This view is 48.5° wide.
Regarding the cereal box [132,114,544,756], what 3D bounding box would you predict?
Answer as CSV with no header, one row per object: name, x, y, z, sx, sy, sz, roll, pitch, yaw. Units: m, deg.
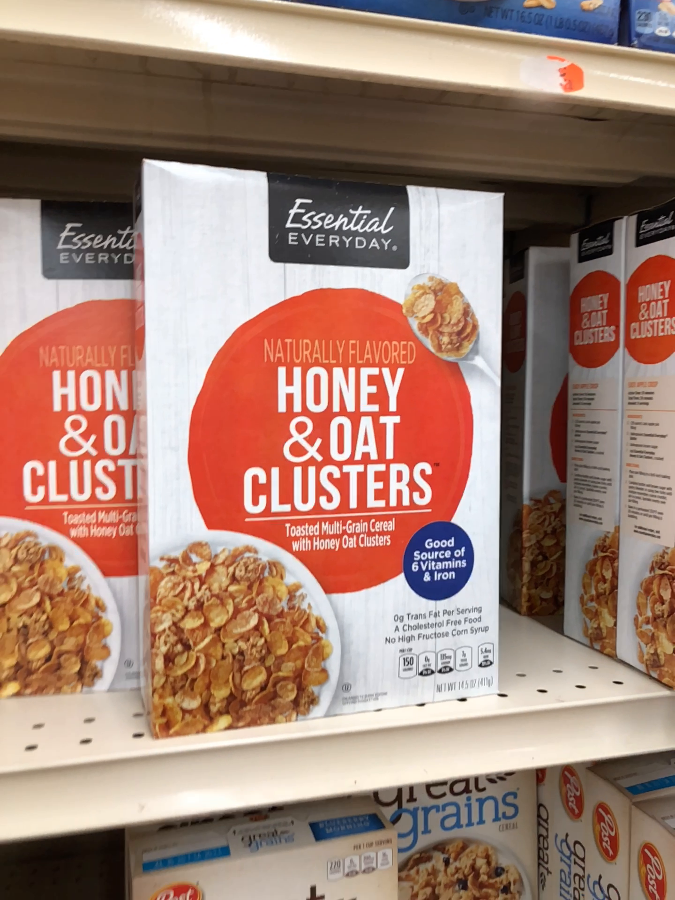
cereal box,-0.001,-0.007,0.413,0.210,0.300,0.070,-1,4,-17
